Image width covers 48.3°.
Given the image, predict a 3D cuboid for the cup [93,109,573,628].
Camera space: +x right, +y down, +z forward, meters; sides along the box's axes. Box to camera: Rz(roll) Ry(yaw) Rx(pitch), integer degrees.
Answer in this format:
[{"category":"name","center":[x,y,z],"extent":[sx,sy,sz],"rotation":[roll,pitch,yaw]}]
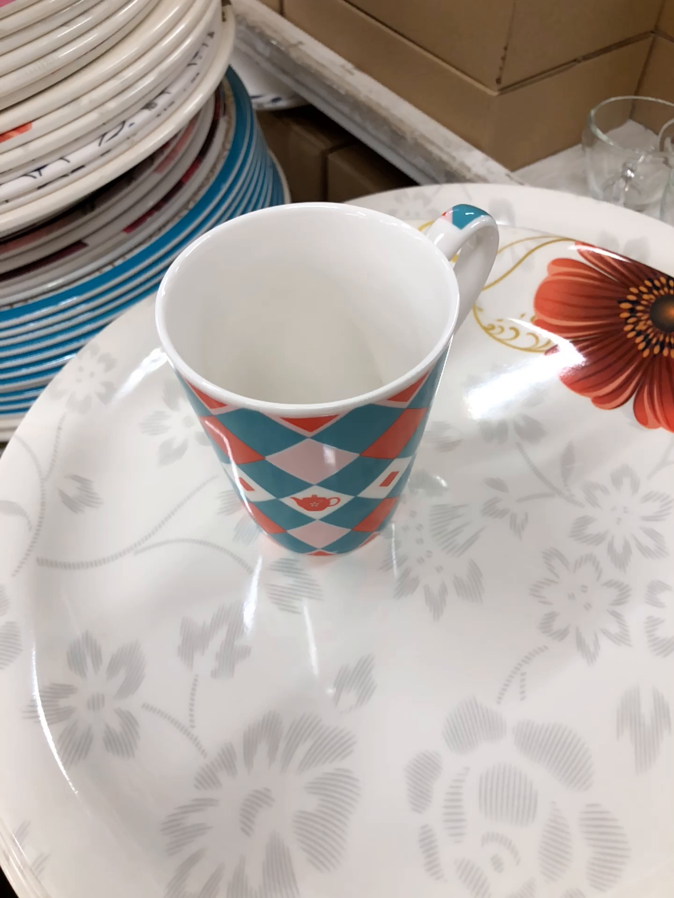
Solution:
[{"category":"cup","center":[0.005,-0.030,0.261],"extent":[0.080,0.099,0.131],"rotation":[30,59,21]}]
